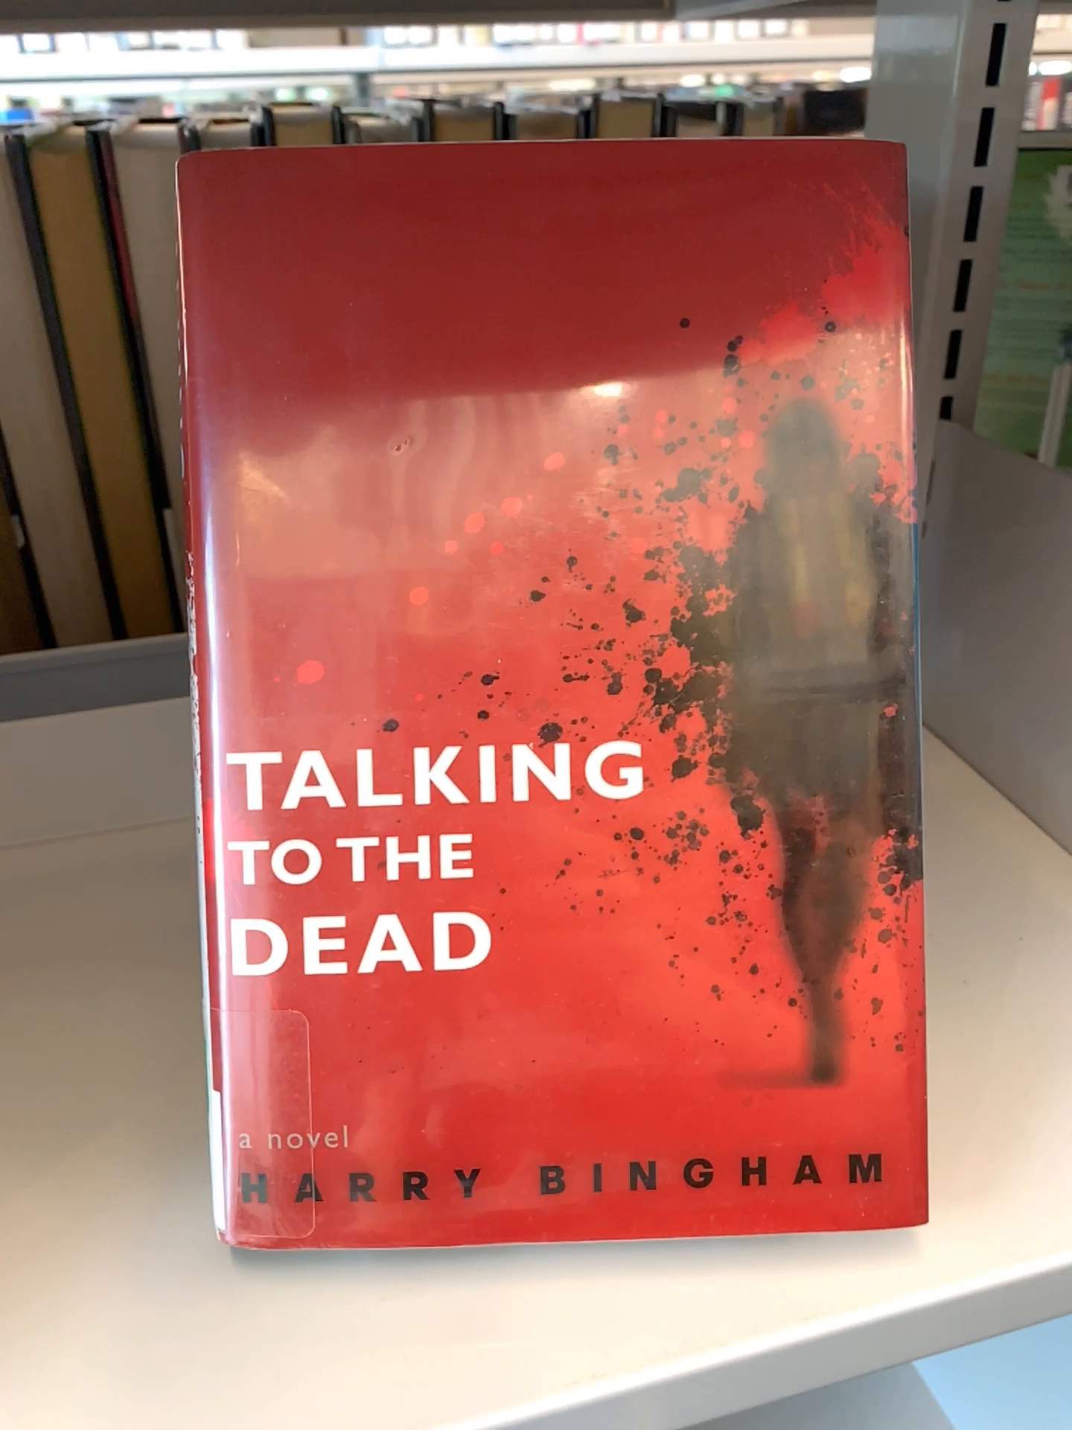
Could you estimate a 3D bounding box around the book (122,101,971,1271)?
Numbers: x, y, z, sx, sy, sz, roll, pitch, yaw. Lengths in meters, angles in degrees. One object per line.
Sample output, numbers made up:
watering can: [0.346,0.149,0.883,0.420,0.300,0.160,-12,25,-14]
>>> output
book: [0.003,-0.006,0.246,0.164,0.231,0.040,-2,1,0]
